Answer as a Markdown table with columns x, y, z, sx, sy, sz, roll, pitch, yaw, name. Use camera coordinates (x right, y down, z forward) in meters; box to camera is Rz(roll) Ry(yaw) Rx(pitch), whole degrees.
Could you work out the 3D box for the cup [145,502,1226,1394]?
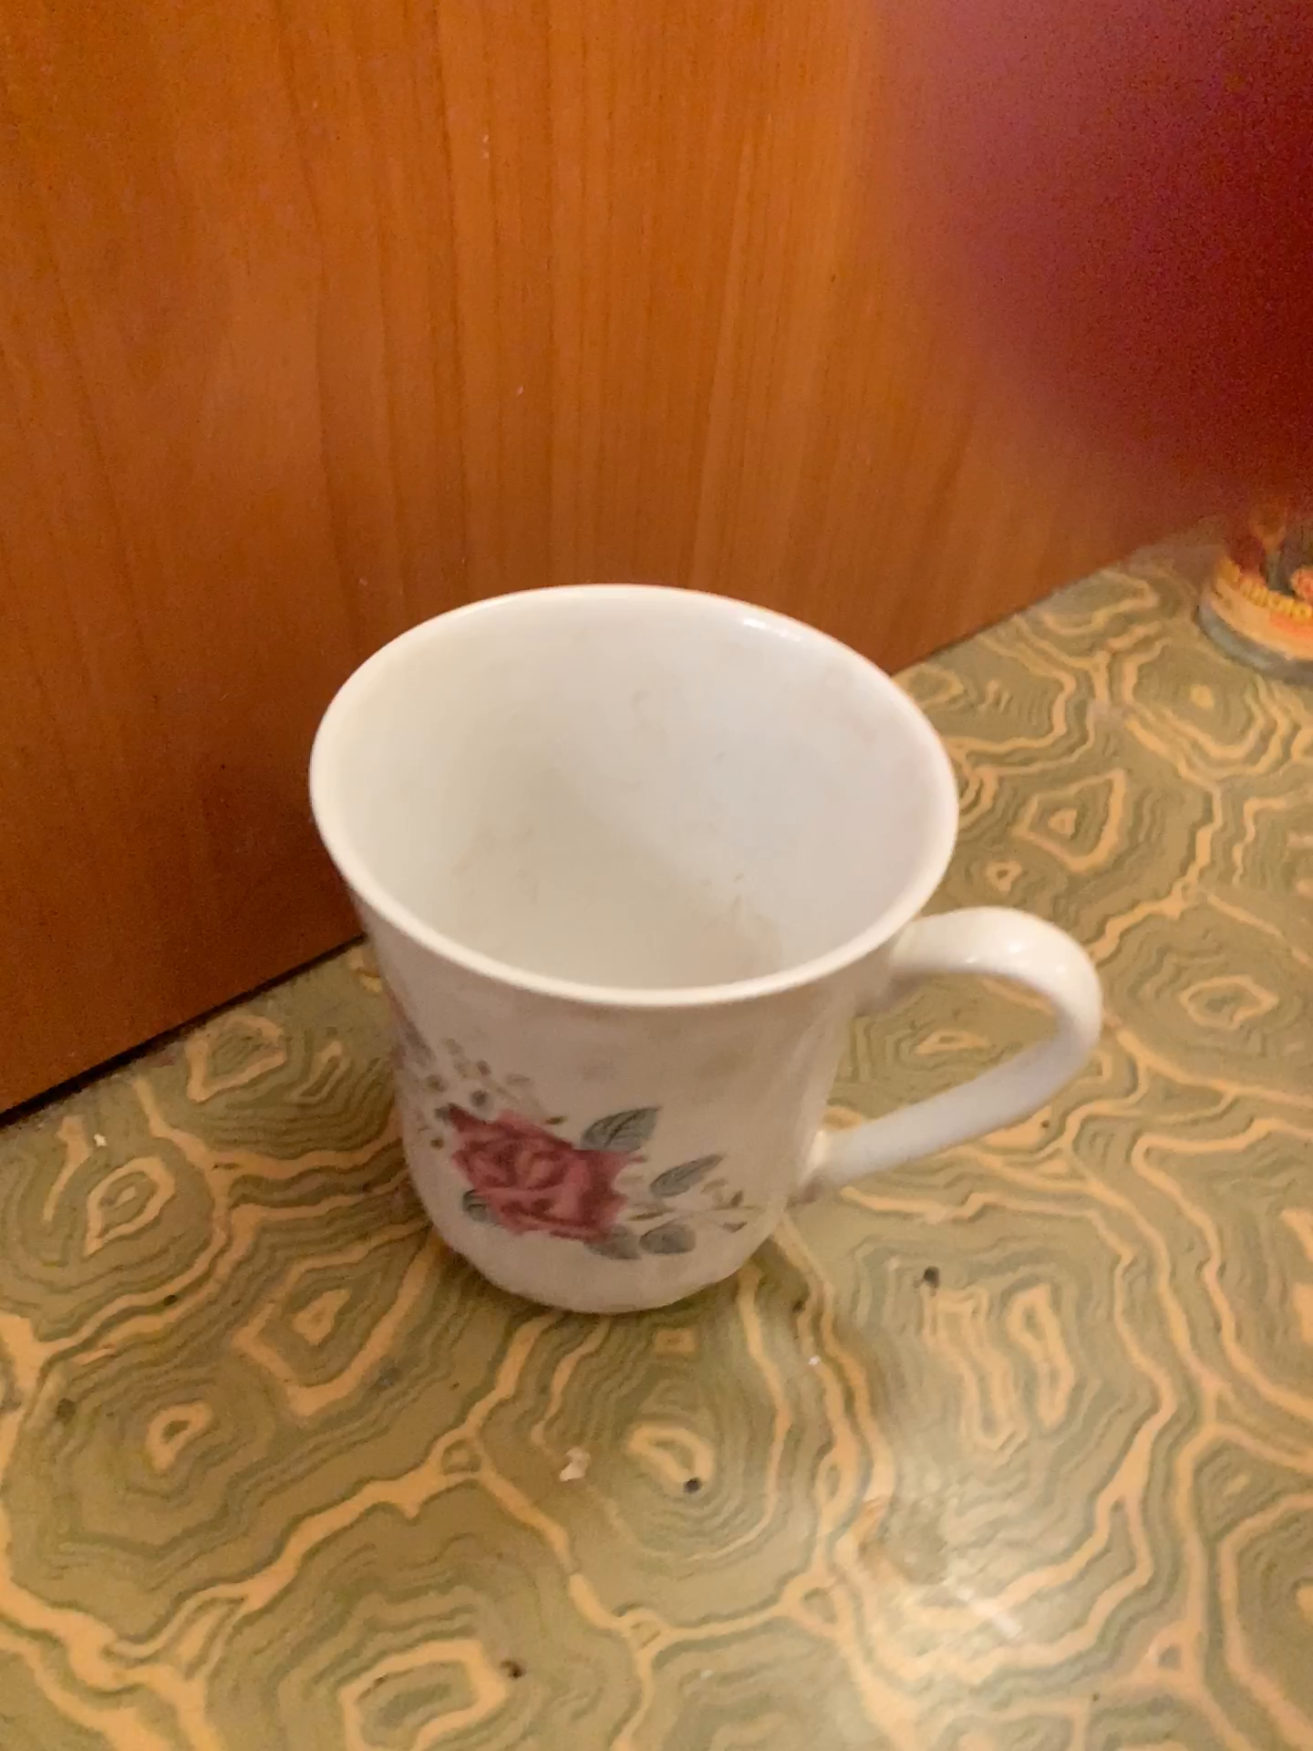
| x | y | z | sx | sy | sz | roll | pitch | yaw | name |
| --- | --- | --- | --- | --- | --- | --- | --- | --- | --- |
| 0.004 | 0.010 | 0.209 | 0.118 | 0.086 | 0.087 | 7 | 43 | 2 | cup |
